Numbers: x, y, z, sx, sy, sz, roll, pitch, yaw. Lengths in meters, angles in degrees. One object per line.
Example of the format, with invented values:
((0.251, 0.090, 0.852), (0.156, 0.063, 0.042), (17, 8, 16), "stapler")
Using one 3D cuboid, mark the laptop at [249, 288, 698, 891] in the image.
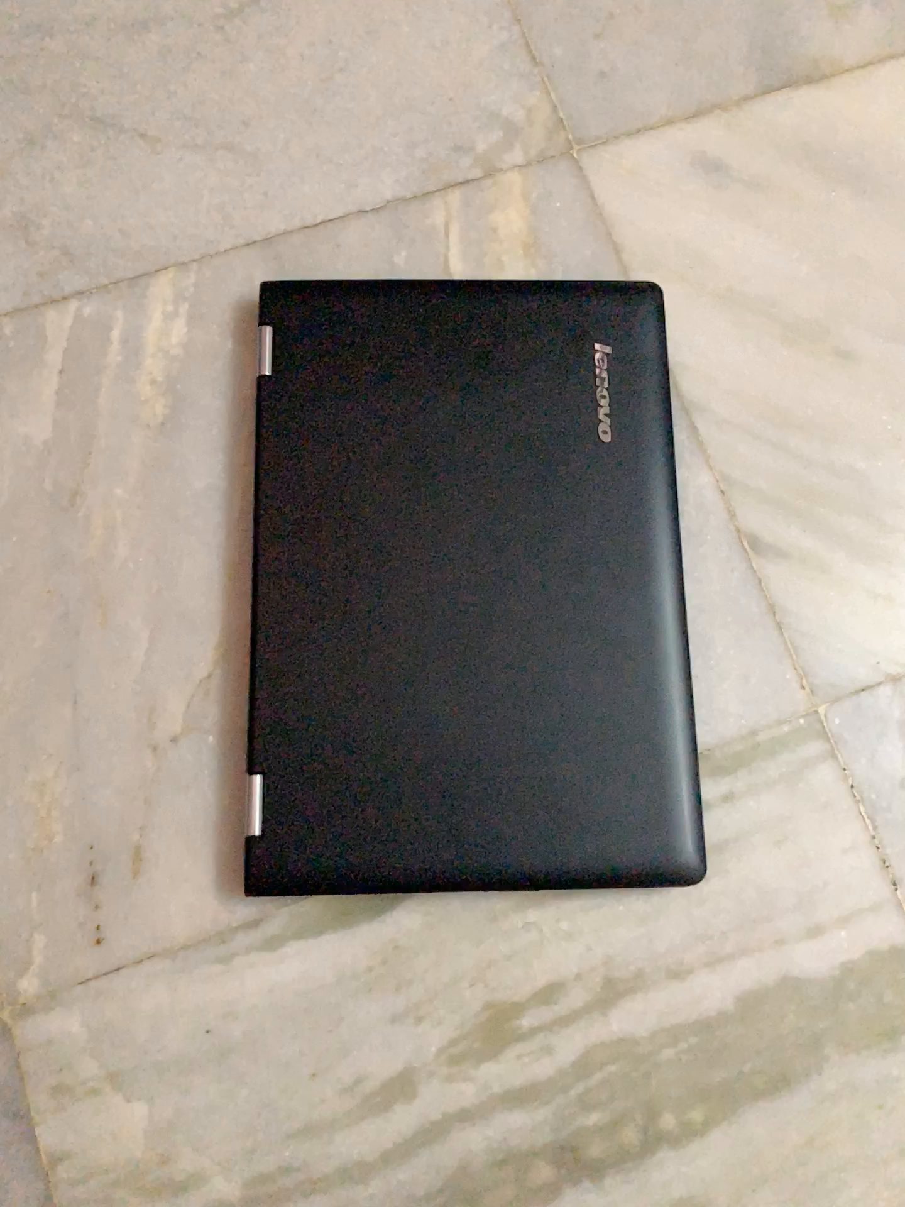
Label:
((0.009, -0.020, 0.493), (0.223, 0.001, 0.325), (-1, 78, -3), "laptop")
